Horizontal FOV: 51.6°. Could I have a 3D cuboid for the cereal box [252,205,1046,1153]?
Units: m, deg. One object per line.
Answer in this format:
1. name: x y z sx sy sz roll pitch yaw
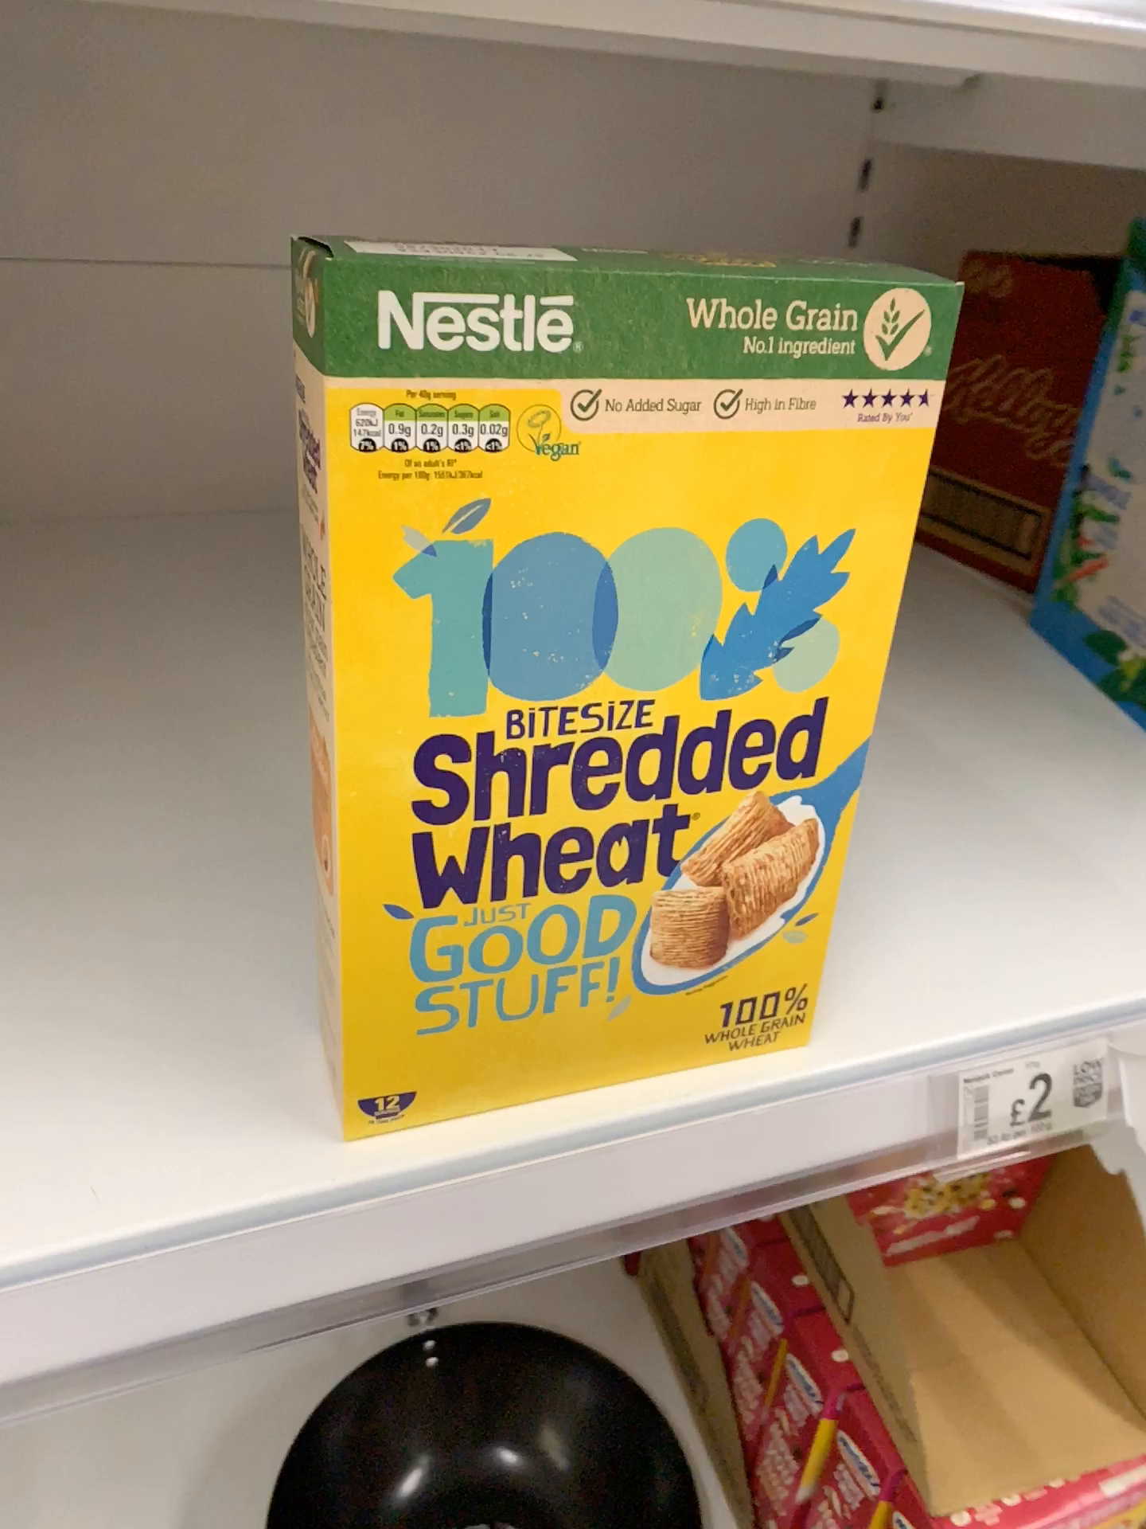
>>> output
1. cereal box: 0.014 -0.023 0.391 0.210 0.278 0.071 -6 29 -20
